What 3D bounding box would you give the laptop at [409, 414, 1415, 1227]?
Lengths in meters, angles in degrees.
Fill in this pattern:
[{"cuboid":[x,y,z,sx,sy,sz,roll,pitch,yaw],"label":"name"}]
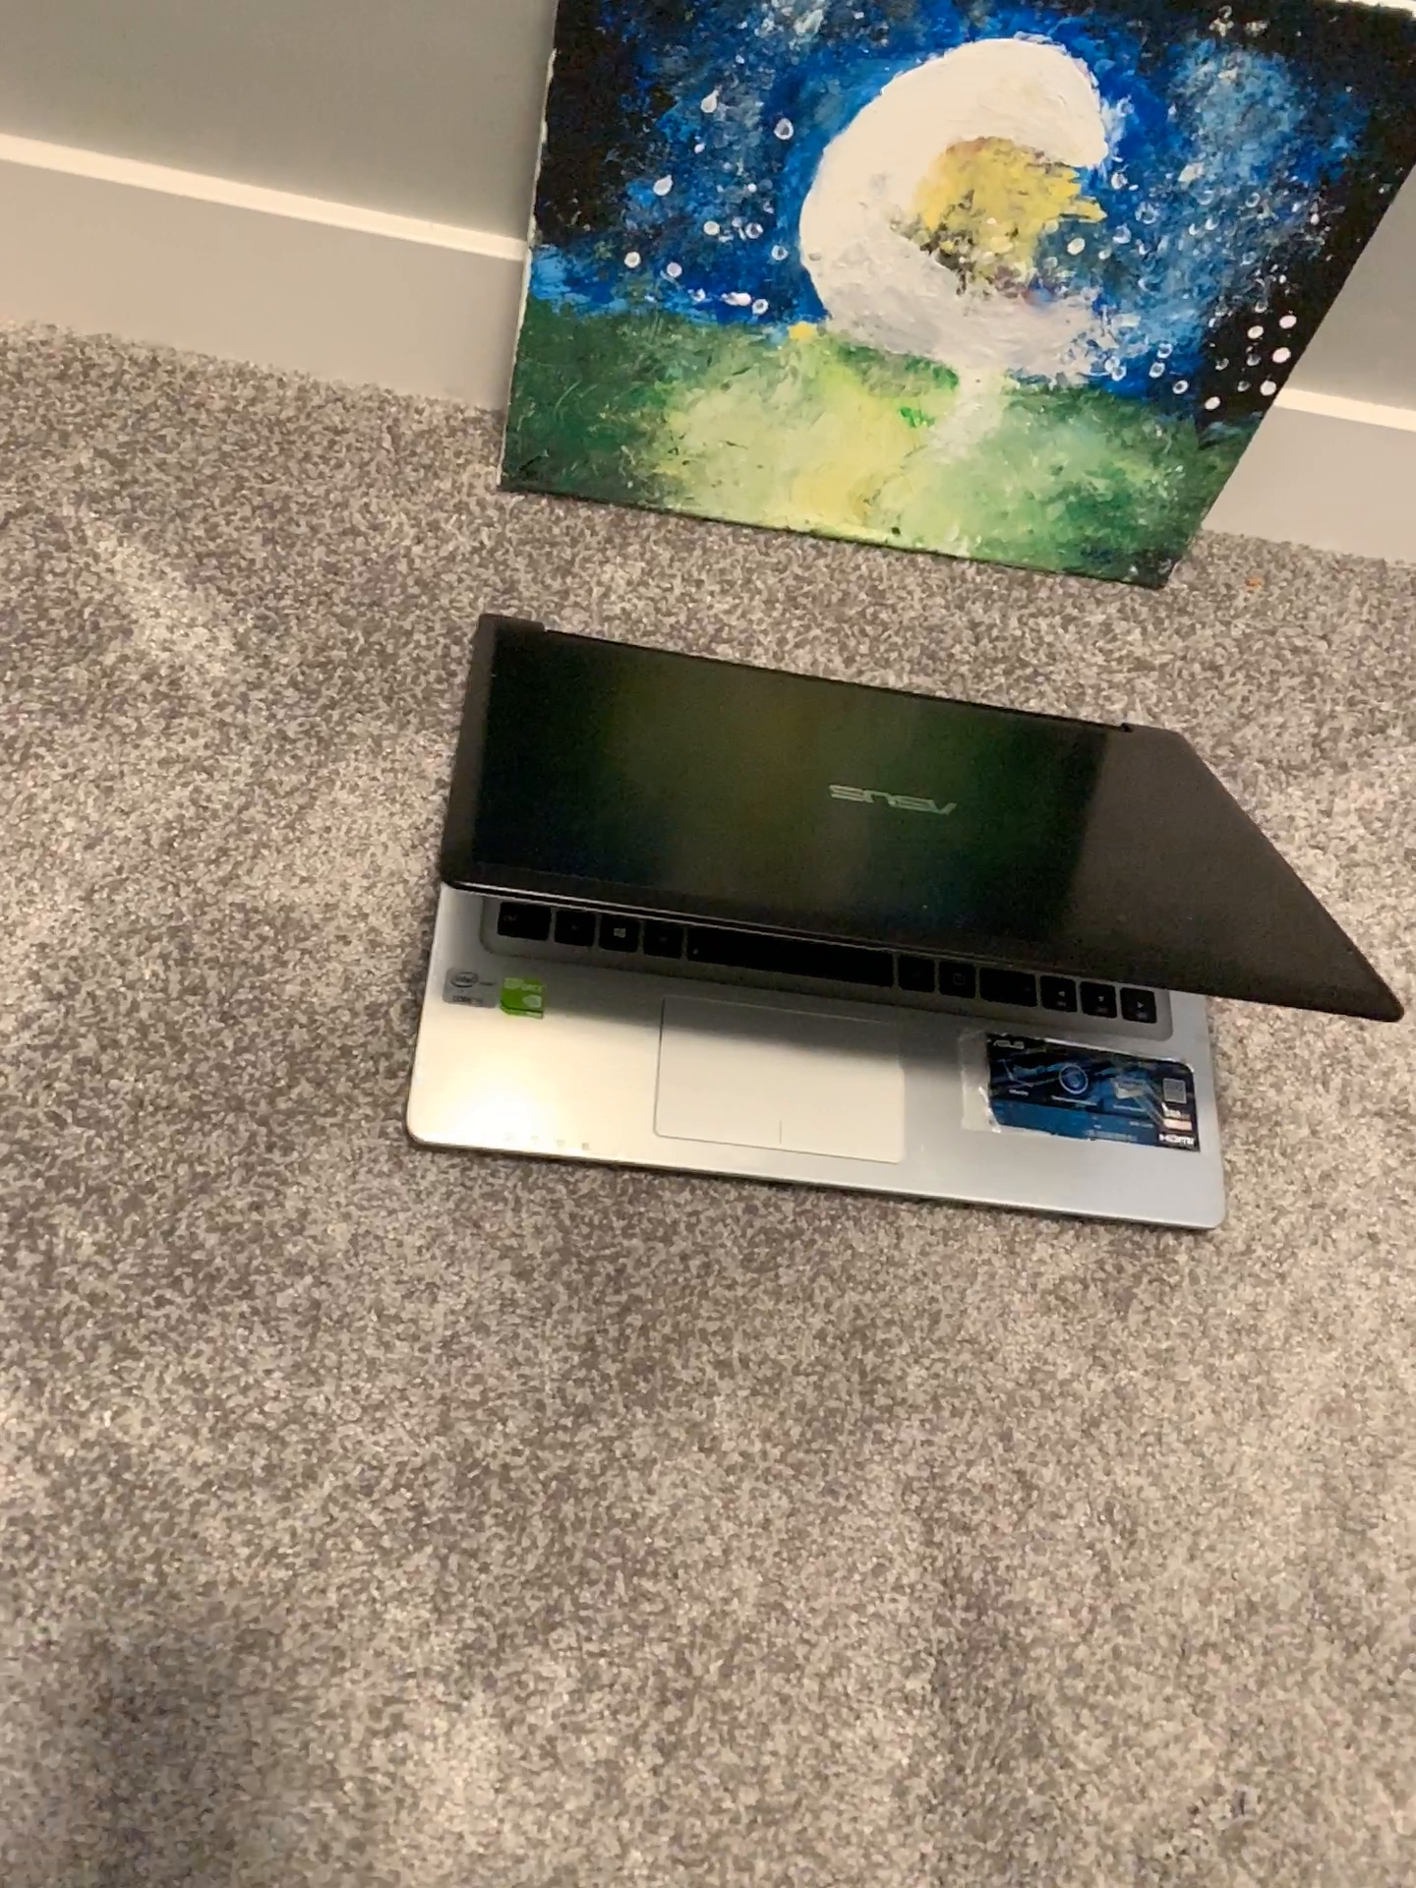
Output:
[{"cuboid":[0.074,-0.041,0.598,0.355,0.134,0.253,8,65,-10],"label":"laptop"}]
